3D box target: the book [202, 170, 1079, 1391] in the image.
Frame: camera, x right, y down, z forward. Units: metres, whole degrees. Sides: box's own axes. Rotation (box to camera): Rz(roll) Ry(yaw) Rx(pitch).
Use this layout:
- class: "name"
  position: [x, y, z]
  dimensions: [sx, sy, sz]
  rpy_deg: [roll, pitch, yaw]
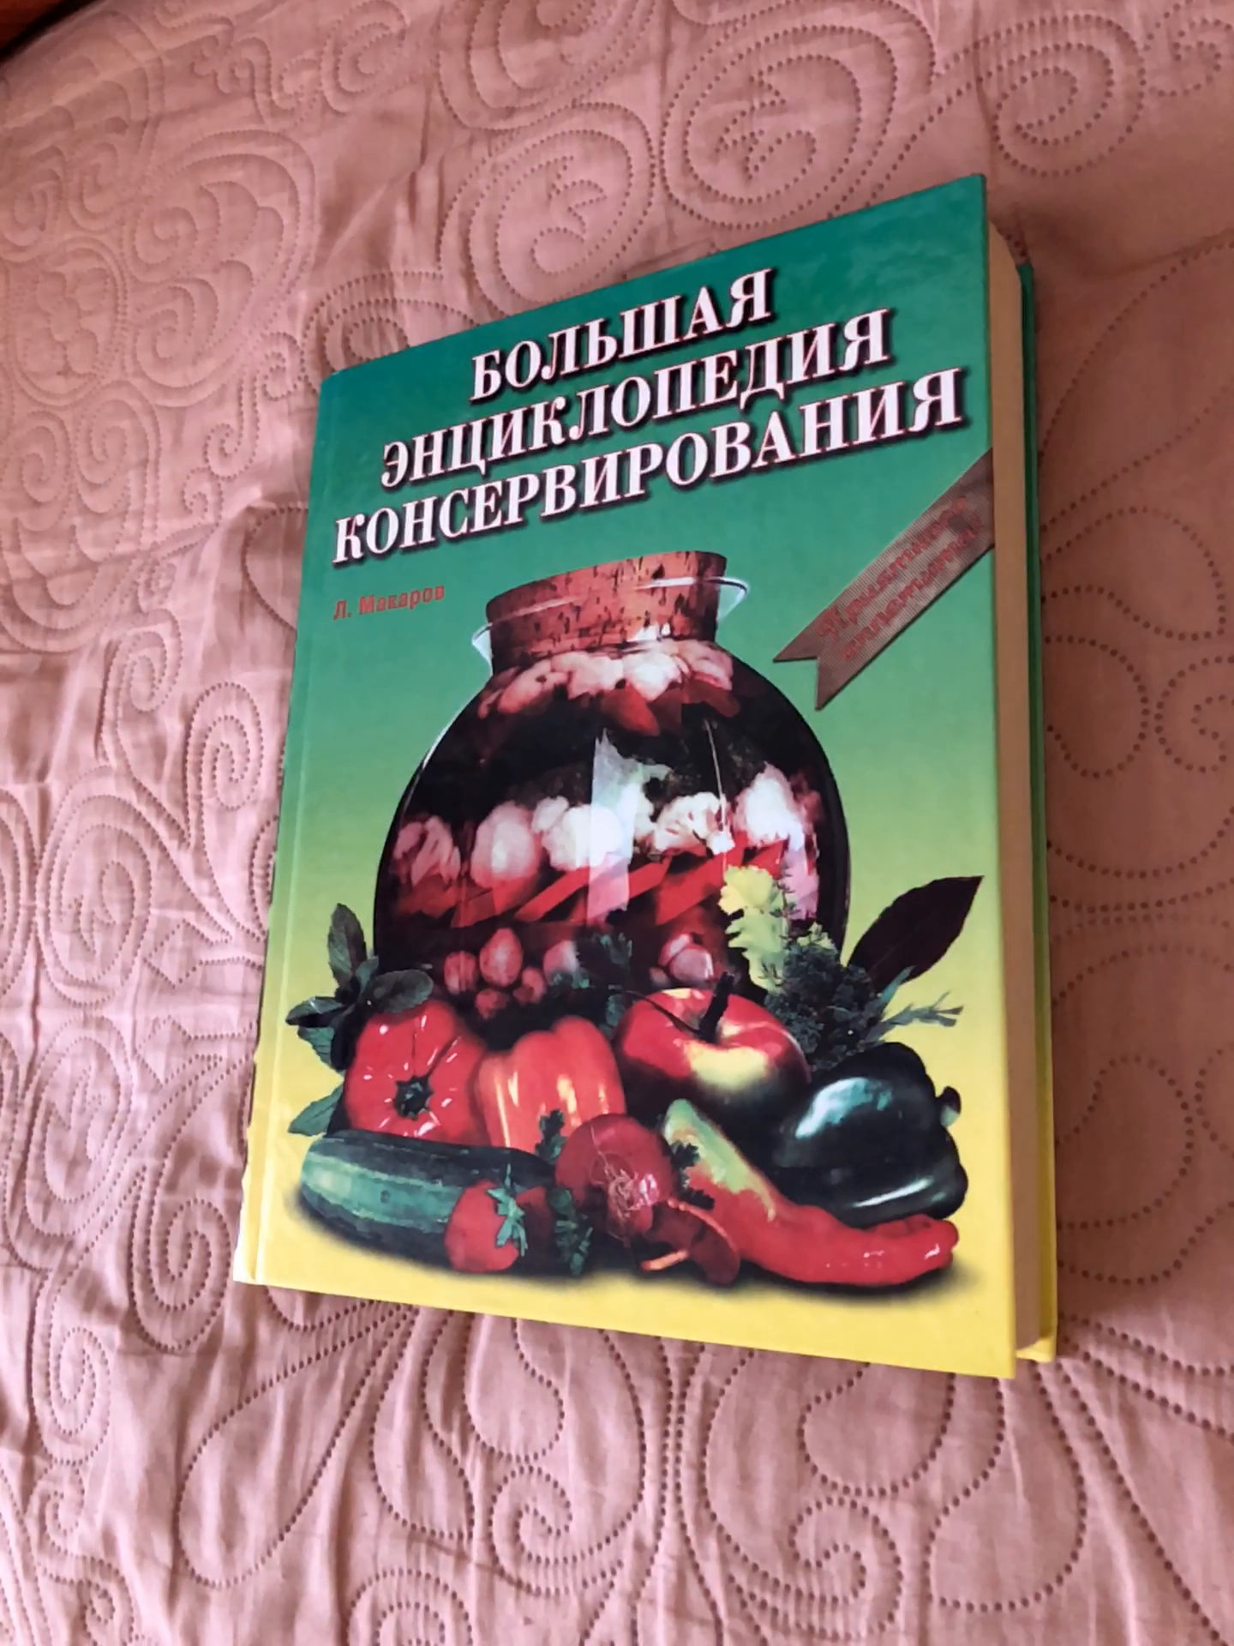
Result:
- class: "book"
  position: [0.002, -0.010, 0.365]
  dimensions: [0.216, 0.050, 0.273]
  rpy_deg: [-5, 74, 29]
